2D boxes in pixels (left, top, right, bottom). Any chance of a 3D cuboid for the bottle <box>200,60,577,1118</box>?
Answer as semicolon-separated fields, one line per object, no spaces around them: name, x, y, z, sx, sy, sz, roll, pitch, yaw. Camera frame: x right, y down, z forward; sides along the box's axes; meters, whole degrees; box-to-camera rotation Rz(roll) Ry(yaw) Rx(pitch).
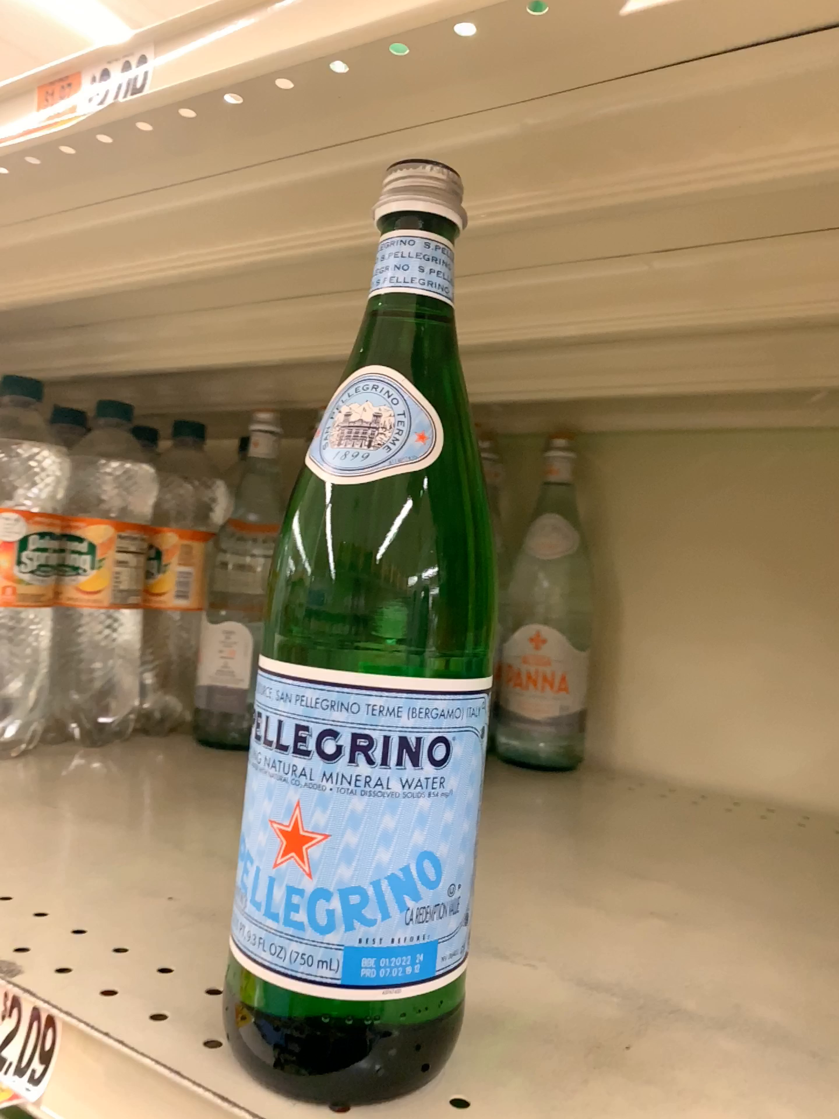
bottle;-0.009;0.013;0.285;0.078;0.302;0.065;3;-1;39
